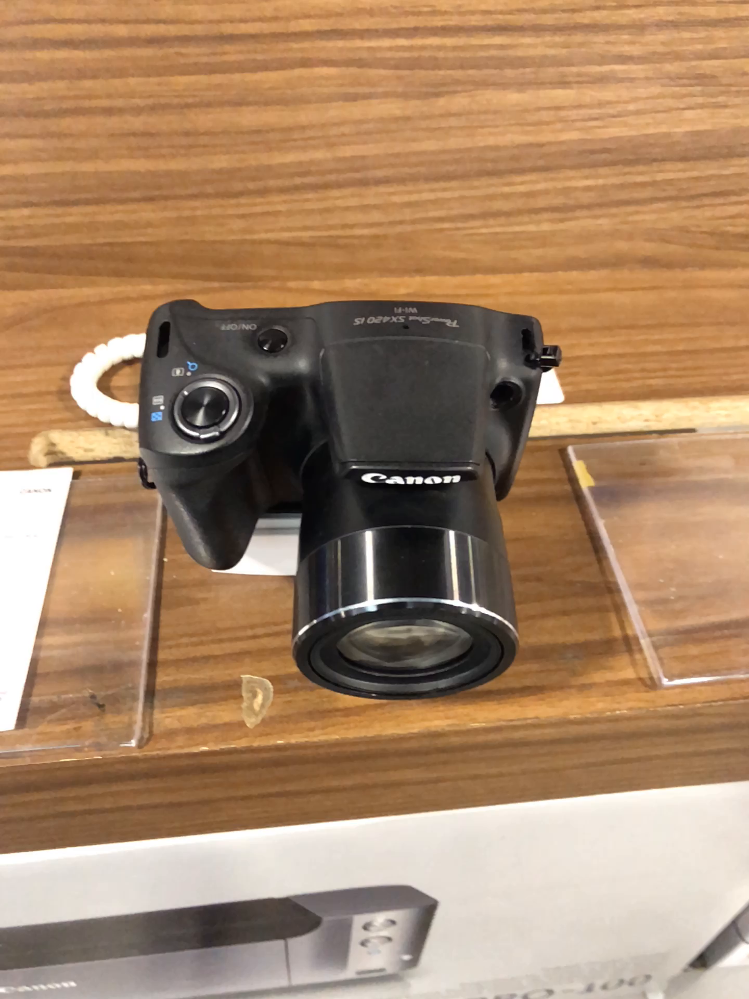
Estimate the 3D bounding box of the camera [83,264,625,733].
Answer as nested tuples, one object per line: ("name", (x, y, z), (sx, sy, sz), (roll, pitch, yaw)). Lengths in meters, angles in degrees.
("camera", (-0.007, -0.003, 0.210), (0.100, 0.070, 0.091), (-3, 46, -5))
